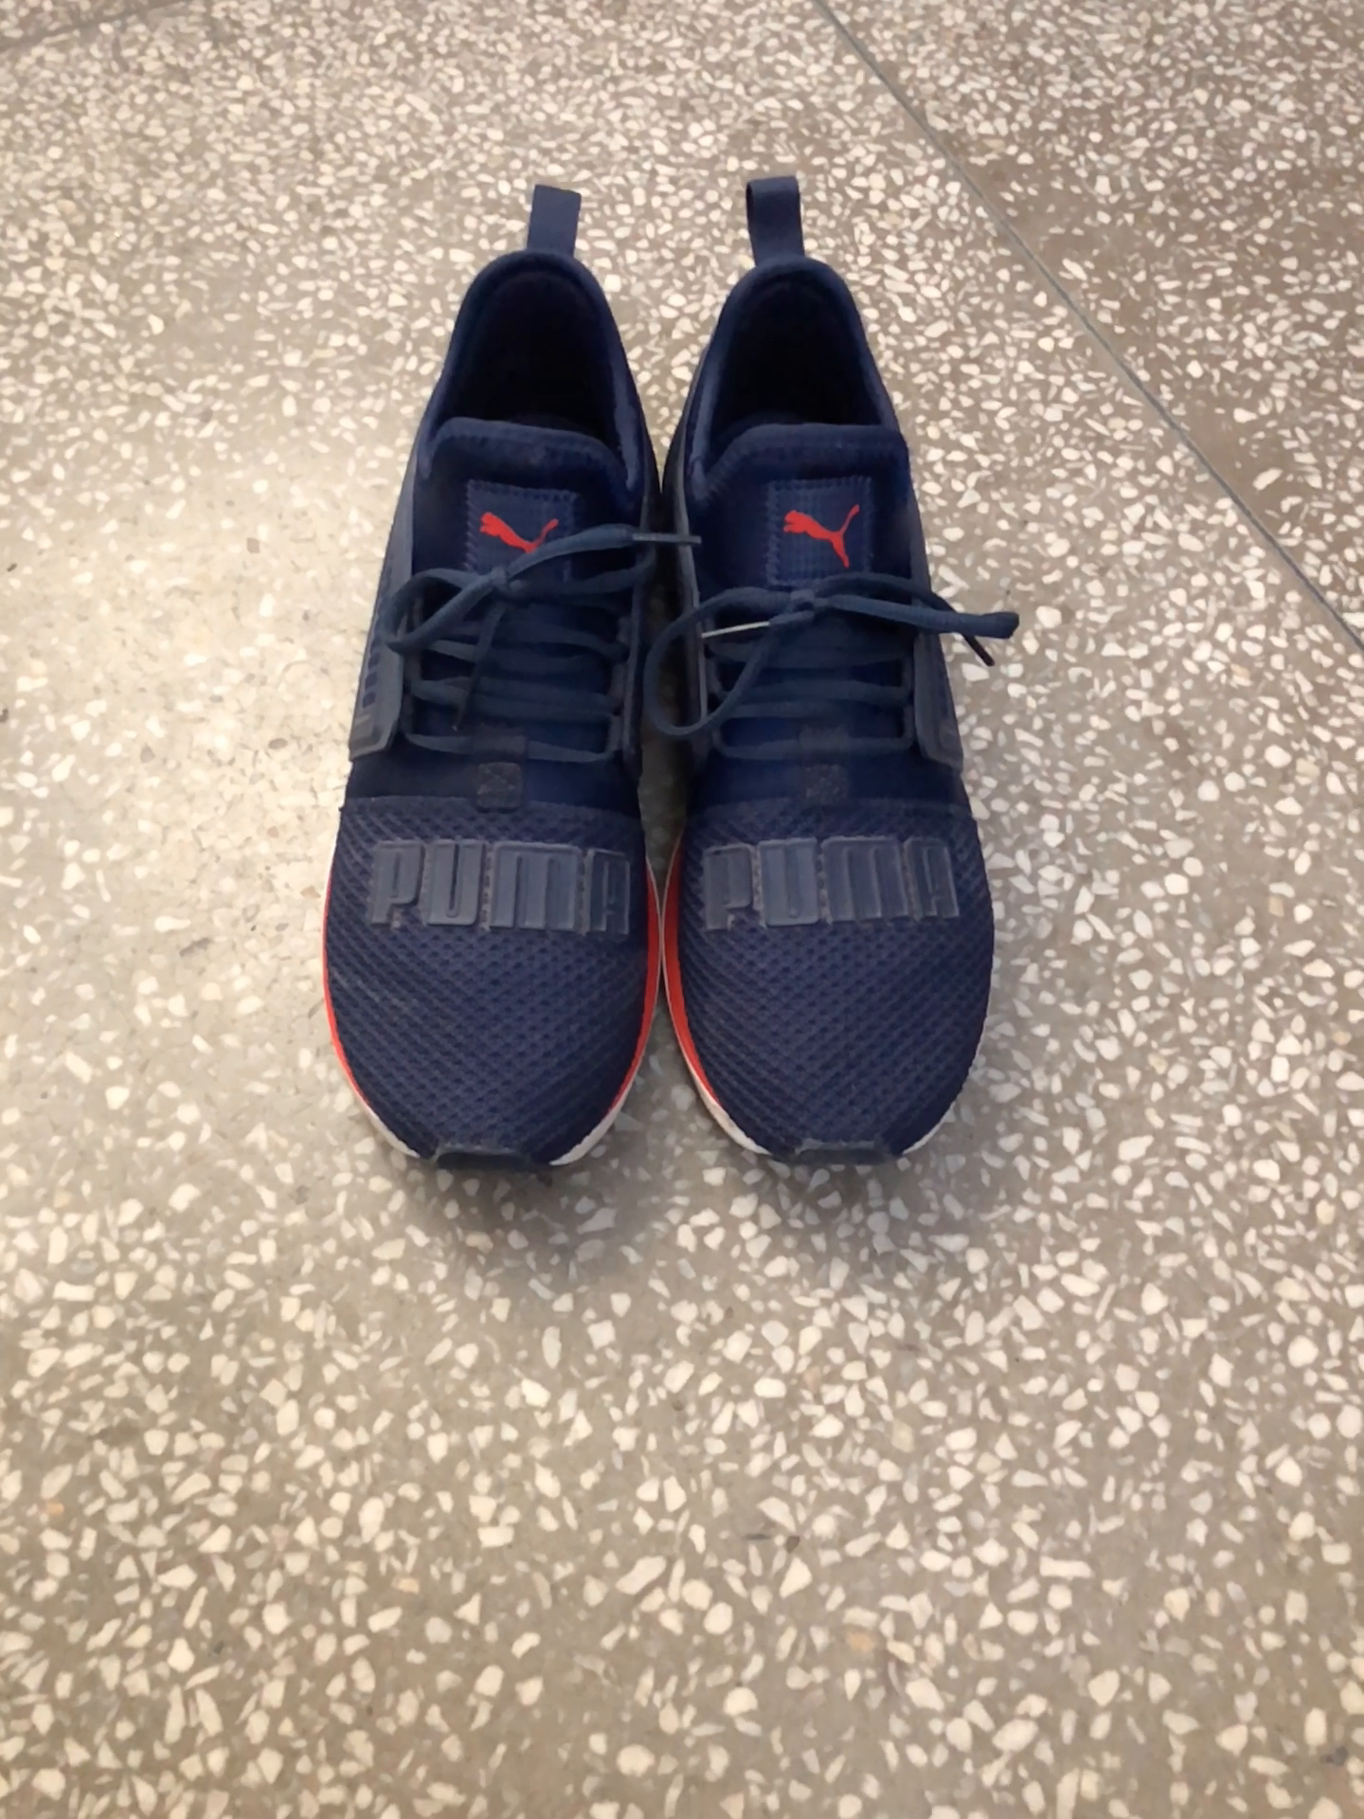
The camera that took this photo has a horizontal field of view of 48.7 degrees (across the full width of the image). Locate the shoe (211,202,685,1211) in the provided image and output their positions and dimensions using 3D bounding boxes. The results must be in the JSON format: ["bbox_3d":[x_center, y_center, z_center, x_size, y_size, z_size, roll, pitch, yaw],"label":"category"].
[{"bbox_3d":[-0.060,-0.064,0.426,0.100,0.100,0.270,-3,63,-4],"label":"shoe"}]

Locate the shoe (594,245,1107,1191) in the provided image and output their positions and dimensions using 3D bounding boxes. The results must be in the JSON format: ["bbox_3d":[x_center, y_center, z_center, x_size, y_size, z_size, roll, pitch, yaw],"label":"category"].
[{"bbox_3d":[0.036,-0.053,0.427,0.100,0.120,0.230,-5,63,1],"label":"shoe"}]
